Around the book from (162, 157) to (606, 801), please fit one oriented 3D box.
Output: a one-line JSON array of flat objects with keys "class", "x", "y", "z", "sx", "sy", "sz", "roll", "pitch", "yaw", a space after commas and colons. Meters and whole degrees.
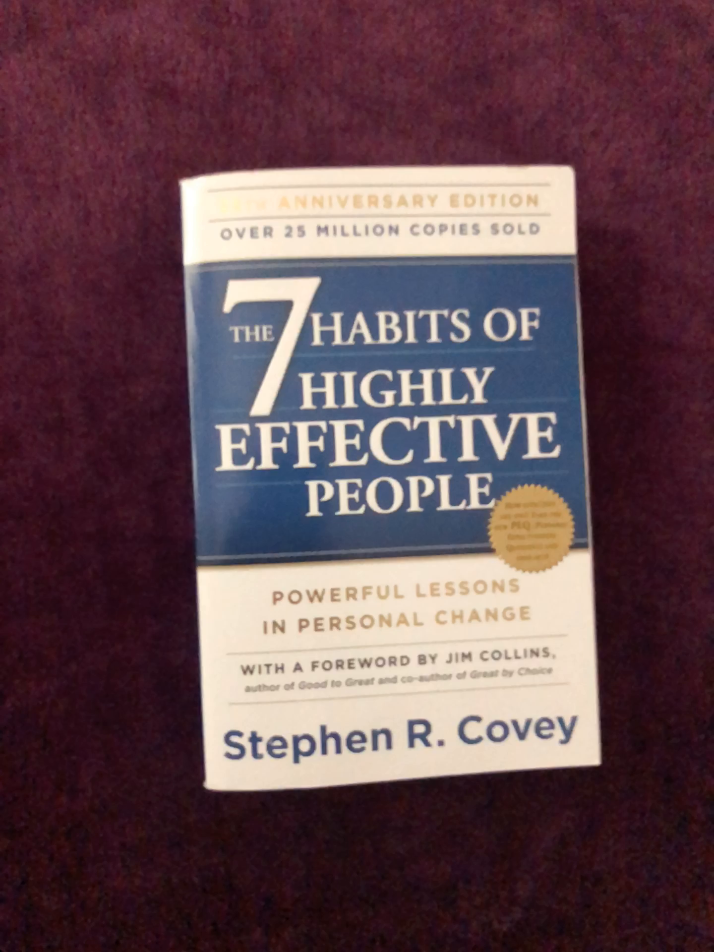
[{"class": "book", "x": 0.010, "y": -0.001, "z": 0.291, "sx": 0.146, "sy": 0.029, "sz": 0.217, "roll": -2, "pitch": 91, "yaw": -4}]
